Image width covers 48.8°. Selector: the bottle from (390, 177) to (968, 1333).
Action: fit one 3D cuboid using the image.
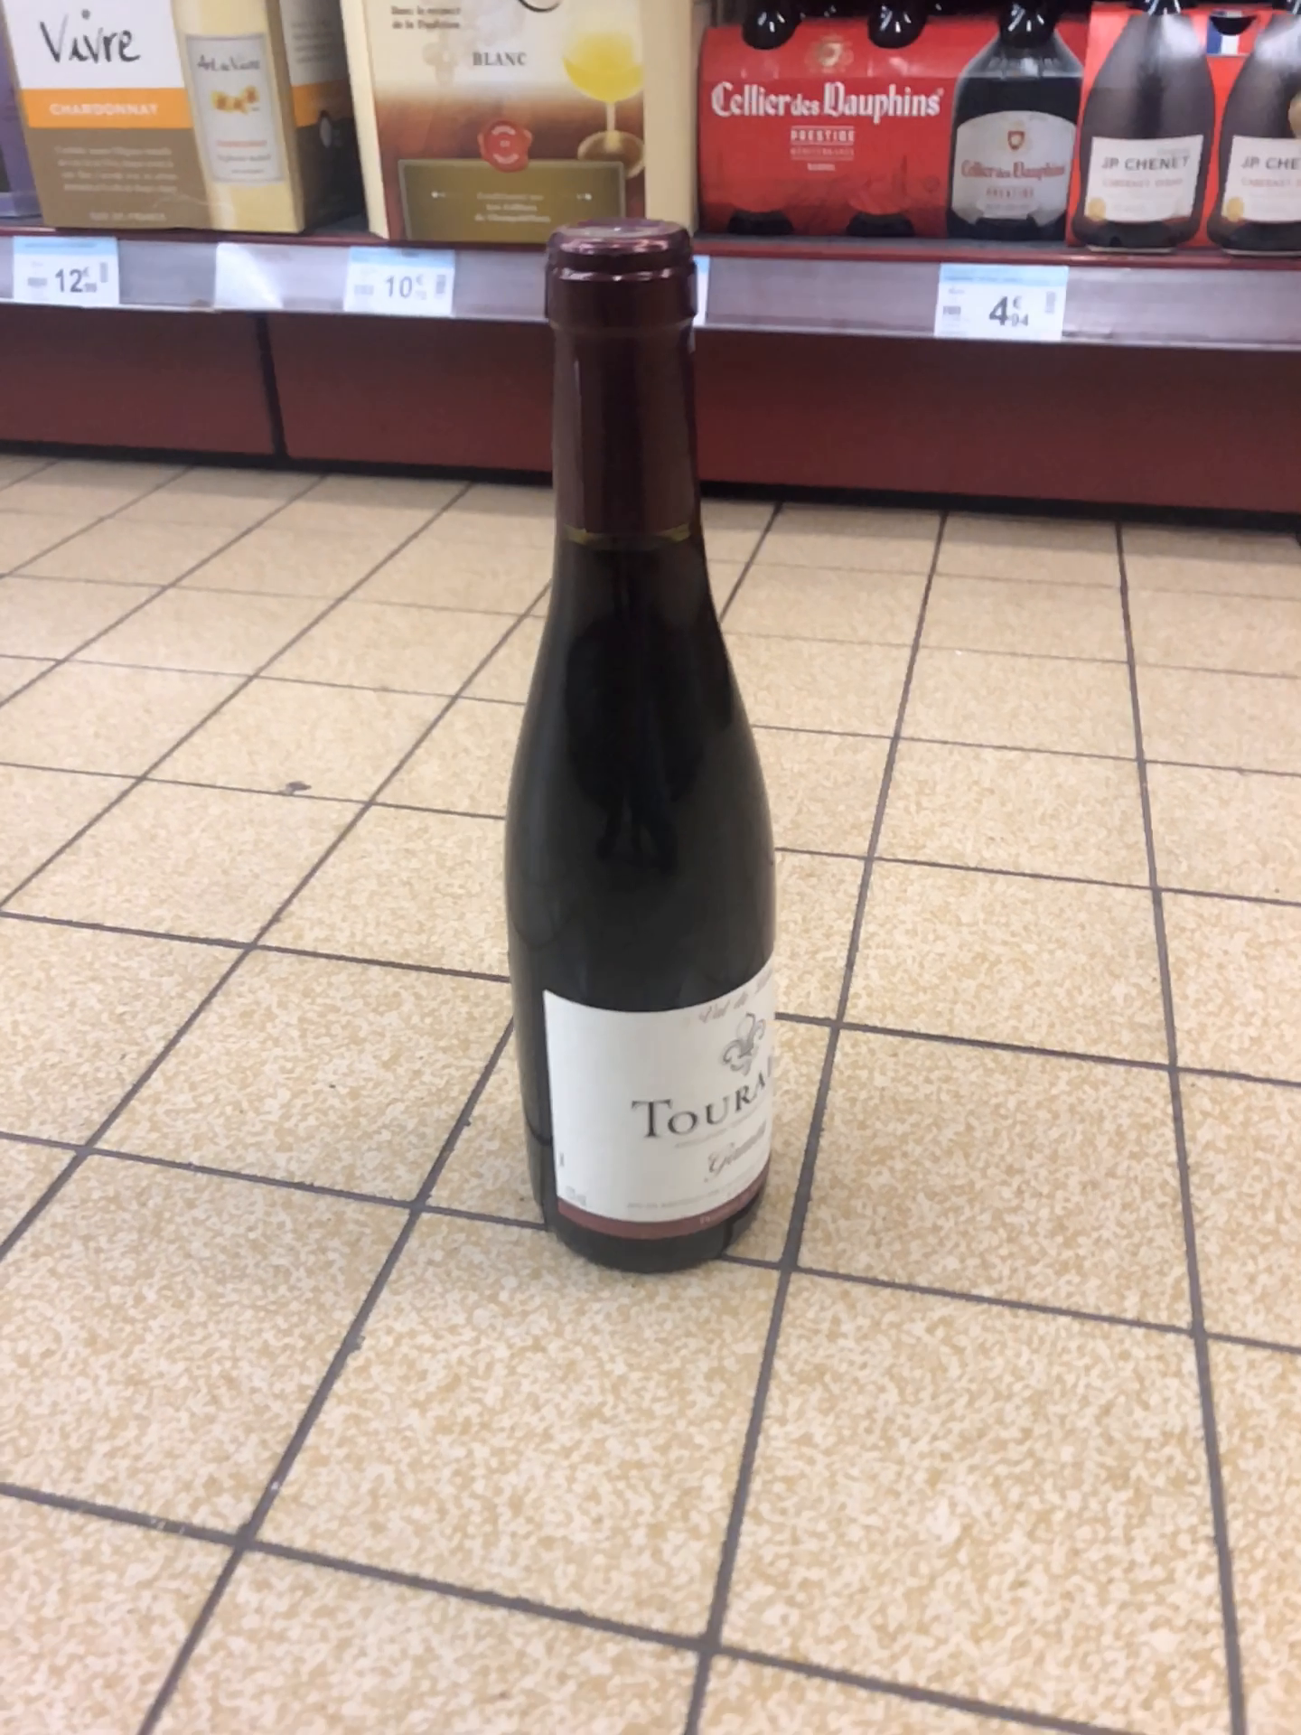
[{"bbox_3d":[0.006,-0.019,0.325,0.080,0.239,0.070,-23,37,-32],"label":"bottle"}]
